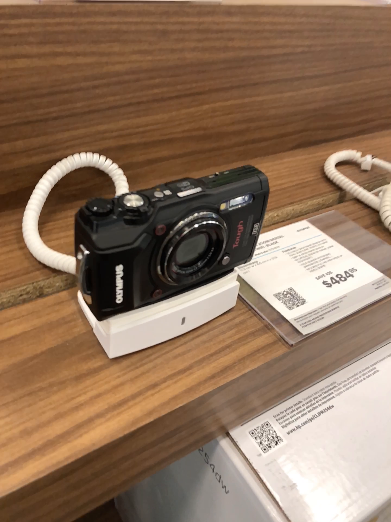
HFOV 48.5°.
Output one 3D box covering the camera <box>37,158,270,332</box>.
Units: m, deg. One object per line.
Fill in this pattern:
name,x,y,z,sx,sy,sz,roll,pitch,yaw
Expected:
camera,-0.019,-0.013,0.241,0.120,0.060,0.030,-19,42,-29
